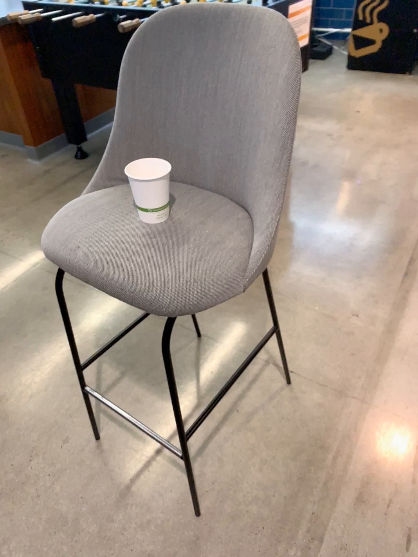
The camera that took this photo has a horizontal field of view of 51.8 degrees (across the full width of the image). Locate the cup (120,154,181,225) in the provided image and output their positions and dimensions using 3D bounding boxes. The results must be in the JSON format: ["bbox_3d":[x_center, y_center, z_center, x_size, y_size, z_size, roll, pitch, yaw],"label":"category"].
[{"bbox_3d":[-0.107,-0.169,0.820,0.090,0.099,0.091,-2,40,2],"label":"cup"}]
